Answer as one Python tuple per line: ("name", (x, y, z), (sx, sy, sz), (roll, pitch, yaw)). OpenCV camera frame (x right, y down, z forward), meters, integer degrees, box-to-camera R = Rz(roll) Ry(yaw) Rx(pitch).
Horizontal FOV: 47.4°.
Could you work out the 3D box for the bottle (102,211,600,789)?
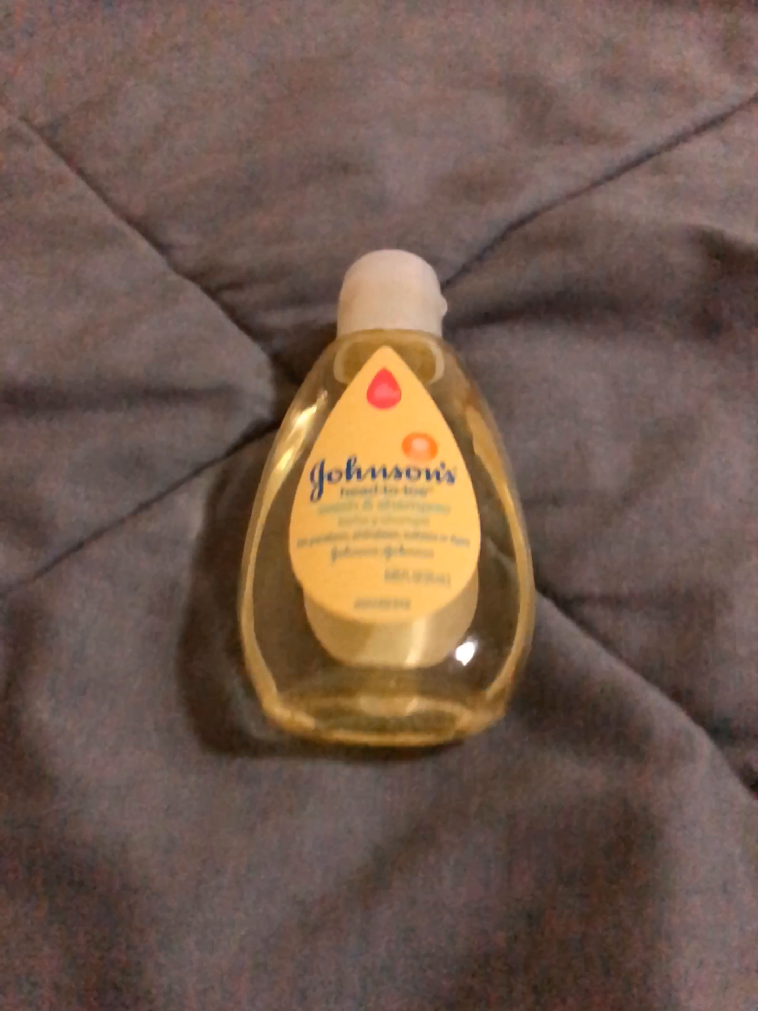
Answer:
("bottle", (-0.001, -0.008, 0.123), (0.050, 0.020, 0.090), (-1, 50, 4))
